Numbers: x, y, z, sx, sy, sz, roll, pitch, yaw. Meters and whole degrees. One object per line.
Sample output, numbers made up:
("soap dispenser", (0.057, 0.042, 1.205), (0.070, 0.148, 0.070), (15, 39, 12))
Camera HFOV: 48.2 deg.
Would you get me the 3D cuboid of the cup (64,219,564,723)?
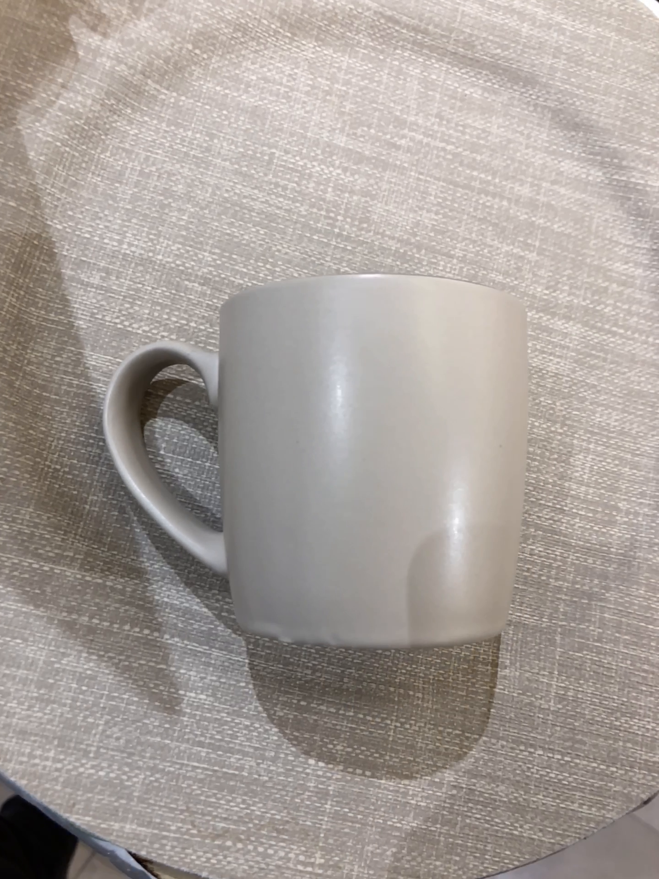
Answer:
("cup", (0.000, 0.010, 0.189), (0.100, 0.080, 0.090), (-3, 84, 26))
